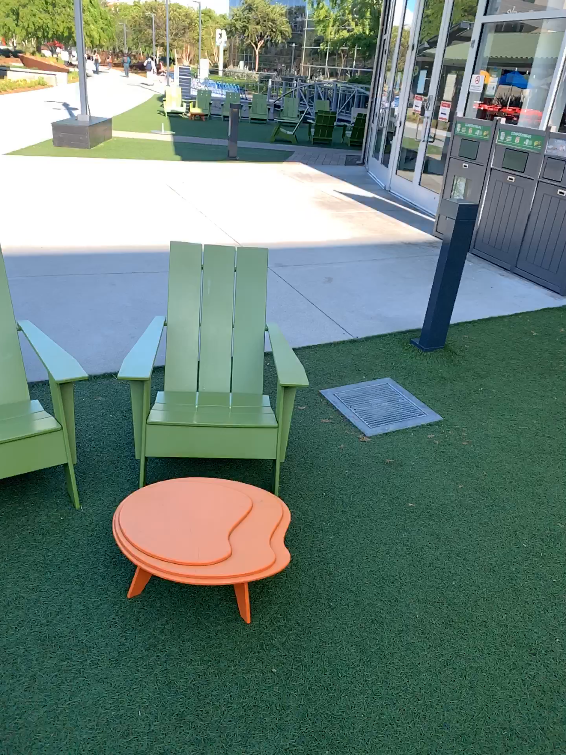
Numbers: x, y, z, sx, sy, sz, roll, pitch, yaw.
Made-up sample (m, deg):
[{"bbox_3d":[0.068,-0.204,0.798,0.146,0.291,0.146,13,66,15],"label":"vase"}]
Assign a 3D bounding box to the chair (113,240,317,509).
[{"bbox_3d":[-0.278,-0.051,2.587,0.710,0.855,0.855,4,27,-3],"label":"chair"}]
